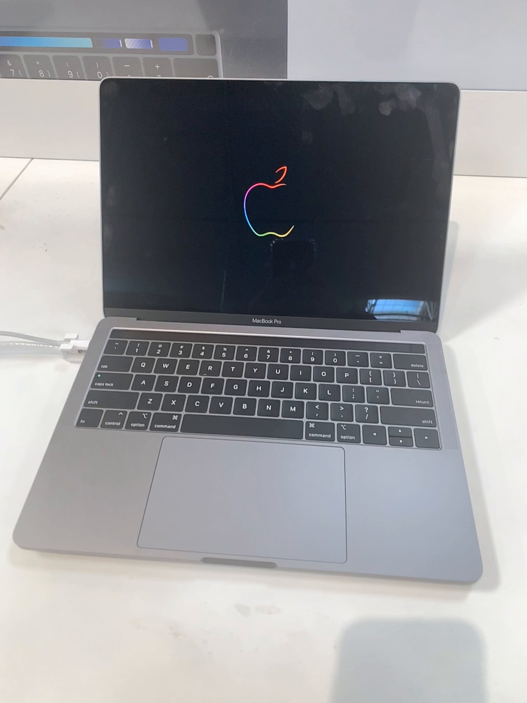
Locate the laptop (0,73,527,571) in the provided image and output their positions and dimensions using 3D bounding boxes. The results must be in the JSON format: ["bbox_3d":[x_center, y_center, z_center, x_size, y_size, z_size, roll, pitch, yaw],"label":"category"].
[{"bbox_3d":[0.005,-0.046,0.375,0.284,0.150,0.316,3,49,4],"label":"laptop"}]
